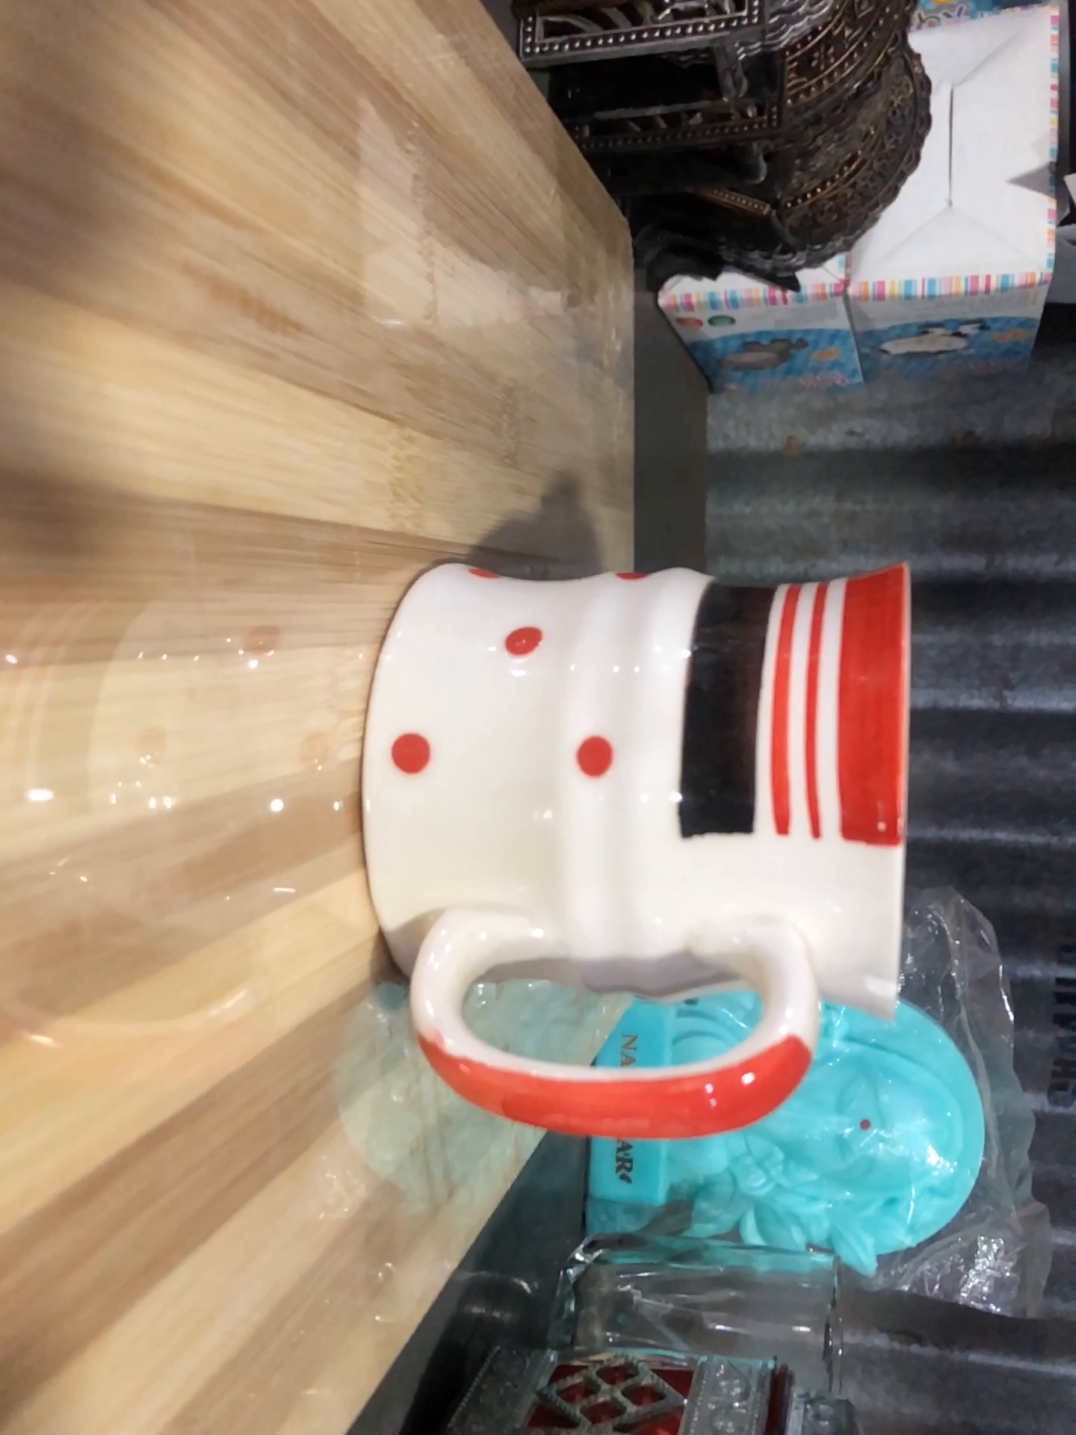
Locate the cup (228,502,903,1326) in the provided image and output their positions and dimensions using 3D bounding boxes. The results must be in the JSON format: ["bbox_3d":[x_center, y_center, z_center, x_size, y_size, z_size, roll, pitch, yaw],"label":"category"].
[{"bbox_3d":[0.020,0.035,0.226,0.100,0.090,0.110,1,90,-75],"label":"cup"}]
